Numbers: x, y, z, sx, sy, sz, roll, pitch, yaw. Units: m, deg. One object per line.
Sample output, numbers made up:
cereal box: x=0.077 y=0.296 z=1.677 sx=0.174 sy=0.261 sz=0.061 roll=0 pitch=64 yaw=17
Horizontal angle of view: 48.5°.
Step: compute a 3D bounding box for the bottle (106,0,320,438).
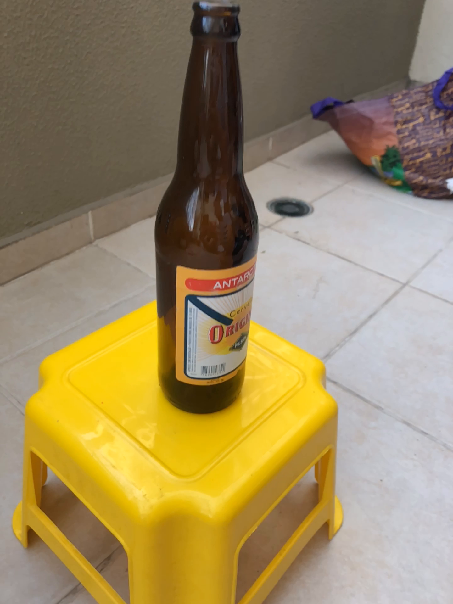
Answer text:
bottle: x=-0.017 y=-0.047 z=0.348 sx=0.080 sy=0.288 sz=0.080 roll=4 pitch=35 yaw=-2
